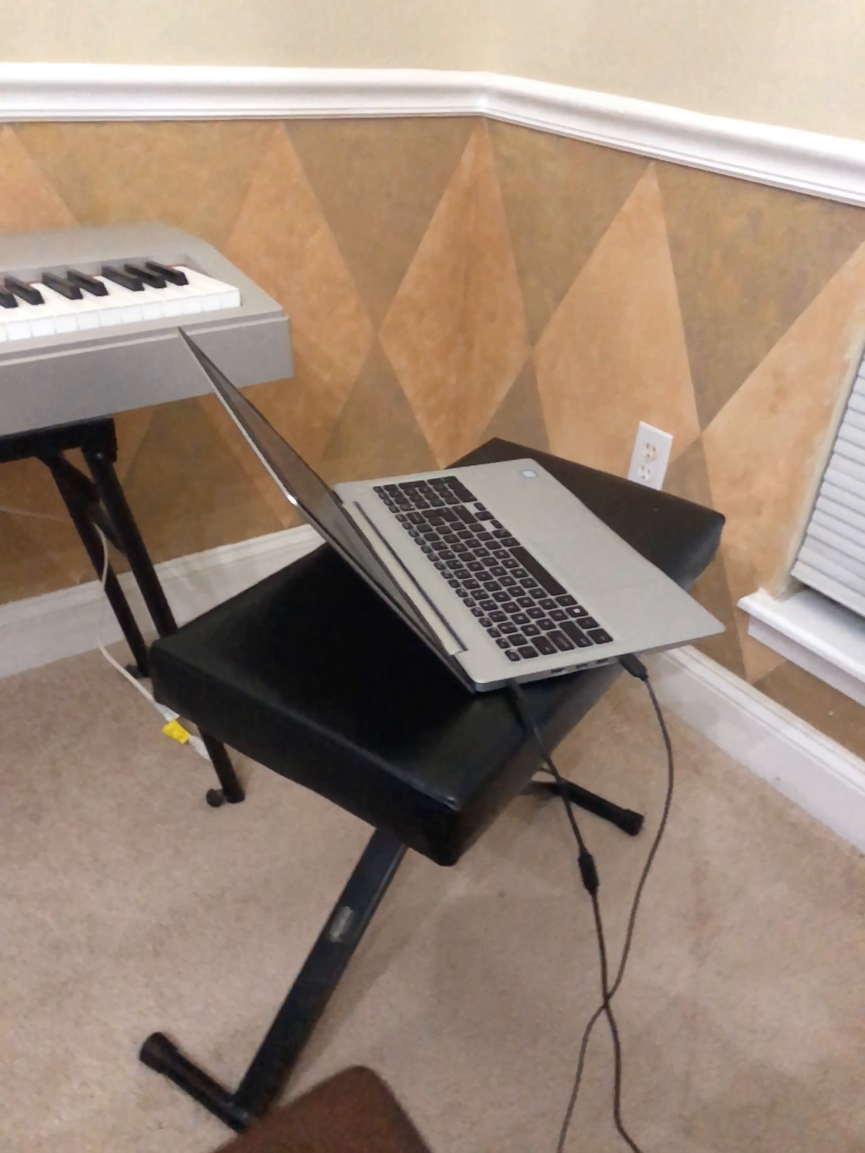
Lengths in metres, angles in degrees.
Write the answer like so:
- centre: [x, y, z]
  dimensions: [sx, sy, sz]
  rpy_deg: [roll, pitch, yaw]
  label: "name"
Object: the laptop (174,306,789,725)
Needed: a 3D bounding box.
- centre: [0.014, -0.095, 0.868]
  dimensions: [0.408, 0.183, 0.376]
  rpy_deg: [-10, 34, -23]
  label: "laptop"
